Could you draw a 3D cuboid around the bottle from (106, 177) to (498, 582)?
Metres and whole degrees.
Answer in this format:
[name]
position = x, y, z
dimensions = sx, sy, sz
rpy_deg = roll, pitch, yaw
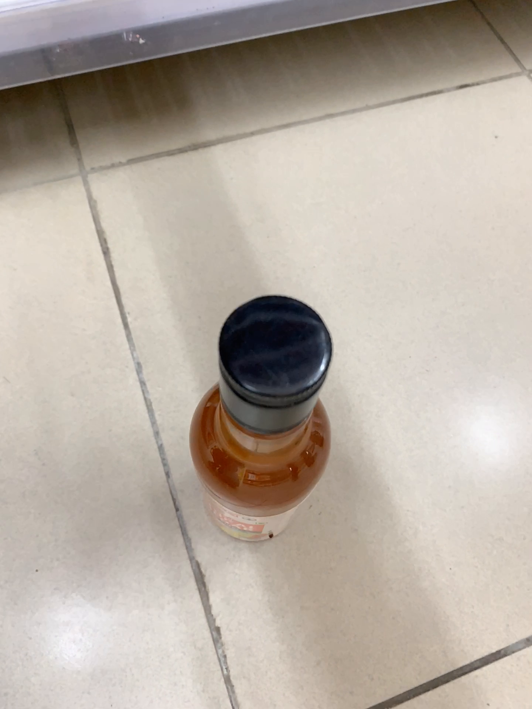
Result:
[bottle]
position = 0.004, 0.040, 0.228
dimensions = 0.060, 0.220, 0.070
rpy_deg = -39, 73, -18
